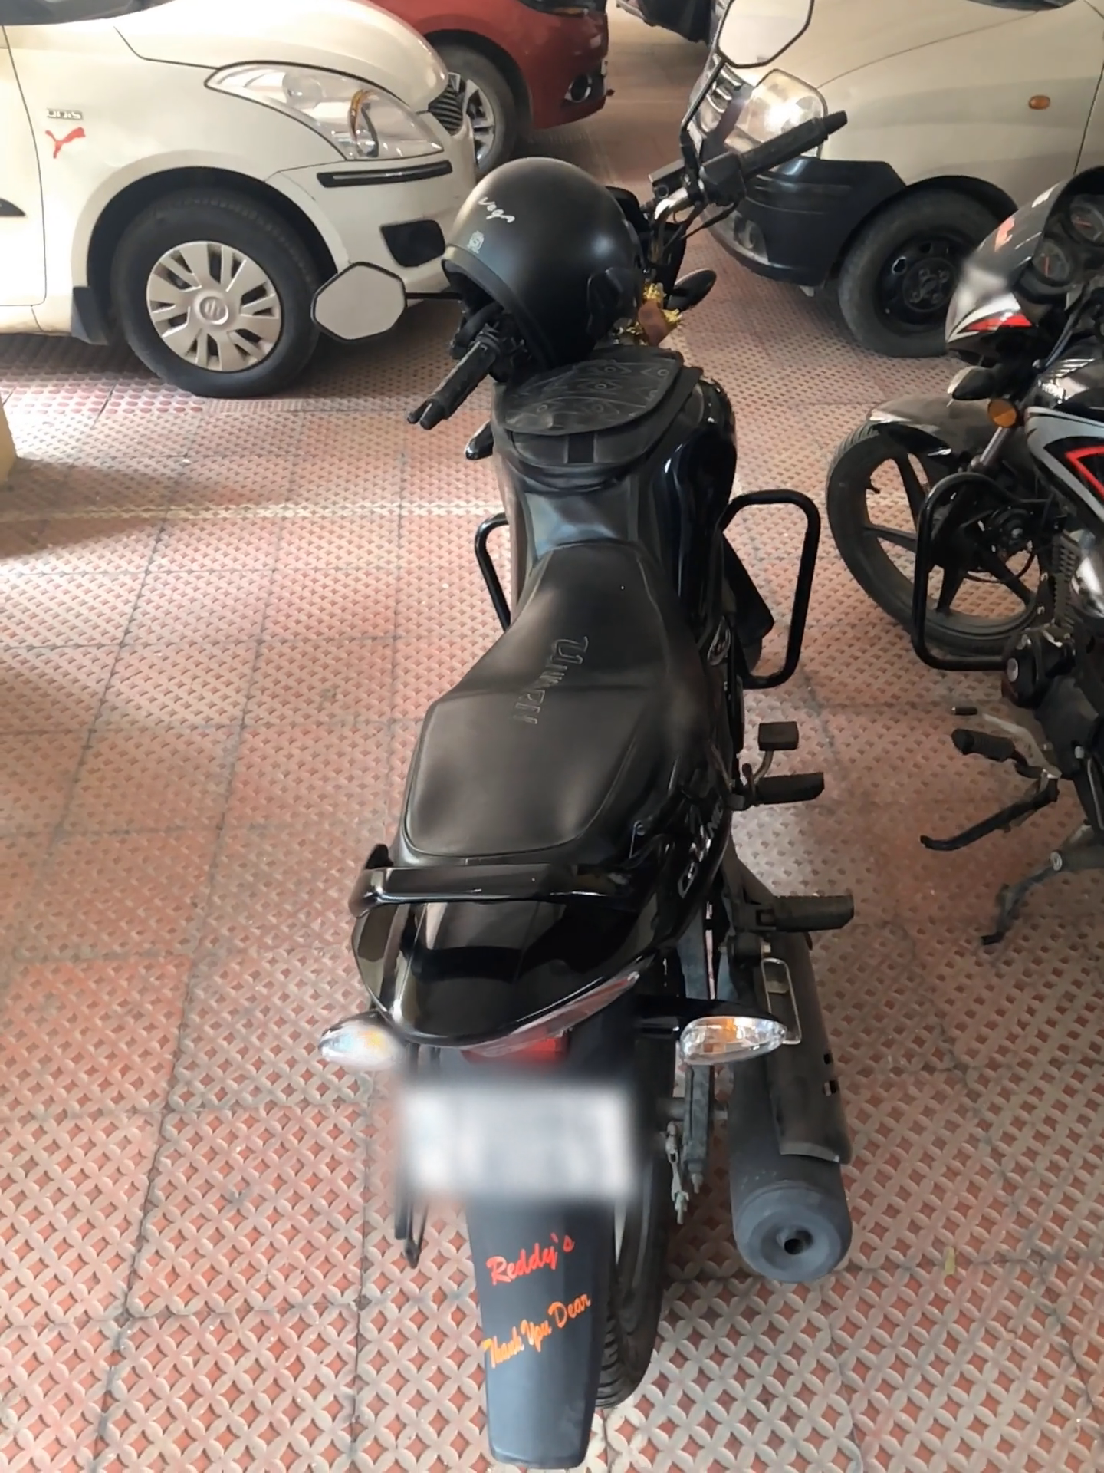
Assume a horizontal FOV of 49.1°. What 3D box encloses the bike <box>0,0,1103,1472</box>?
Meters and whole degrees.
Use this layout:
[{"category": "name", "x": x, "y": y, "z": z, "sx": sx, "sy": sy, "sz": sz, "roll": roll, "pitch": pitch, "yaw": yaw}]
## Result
[{"category": "bike", "x": -0.076, "y": -0.176, "z": 1.710, "sx": 0.804, "sy": 1.200, "sz": 1.692, "roll": 2, "pitch": 40, "yaw": 1}]
